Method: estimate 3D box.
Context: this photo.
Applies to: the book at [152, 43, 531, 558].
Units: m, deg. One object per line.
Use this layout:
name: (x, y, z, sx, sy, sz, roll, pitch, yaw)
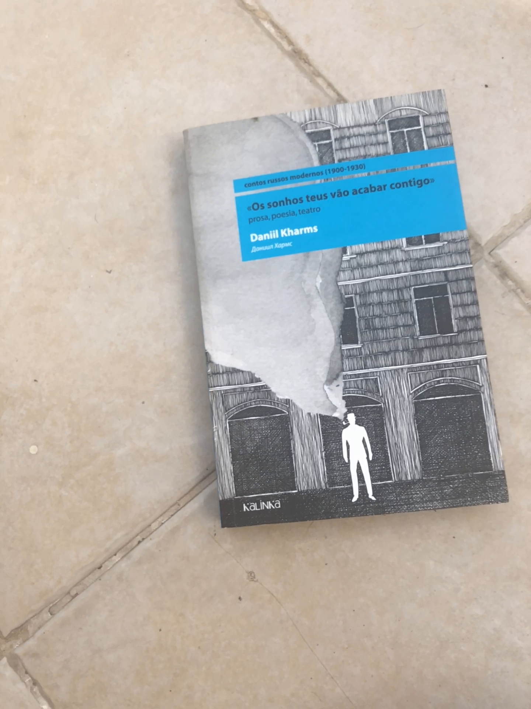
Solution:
book: (0.027, -0.019, 0.227, 0.120, 0.040, 0.170, -7, 82, 5)
